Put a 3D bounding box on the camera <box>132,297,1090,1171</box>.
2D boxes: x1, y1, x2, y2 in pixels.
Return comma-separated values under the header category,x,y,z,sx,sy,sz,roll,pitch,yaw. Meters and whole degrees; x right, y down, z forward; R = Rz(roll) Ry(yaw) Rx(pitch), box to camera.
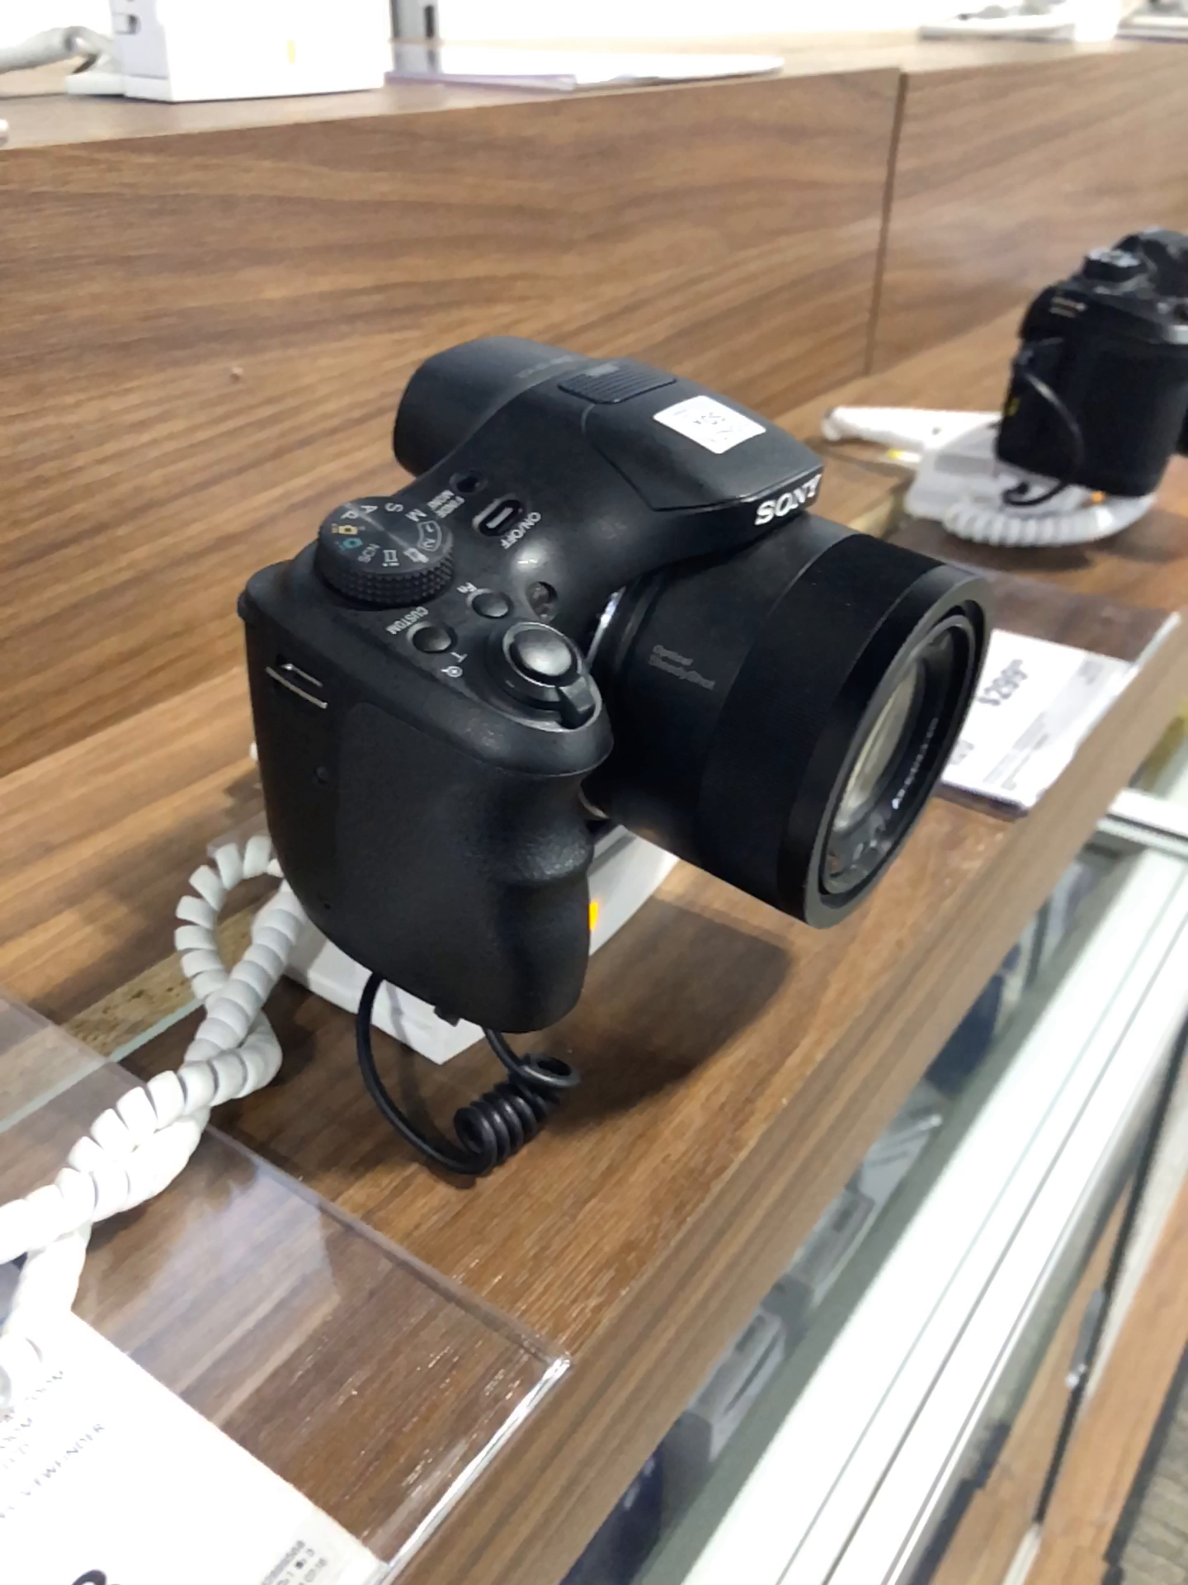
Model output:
category,x,y,z,sx,sy,sz,roll,pitch,yaw
camera,0.006,-0.027,0.262,0.120,0.089,0.130,27,39,25
